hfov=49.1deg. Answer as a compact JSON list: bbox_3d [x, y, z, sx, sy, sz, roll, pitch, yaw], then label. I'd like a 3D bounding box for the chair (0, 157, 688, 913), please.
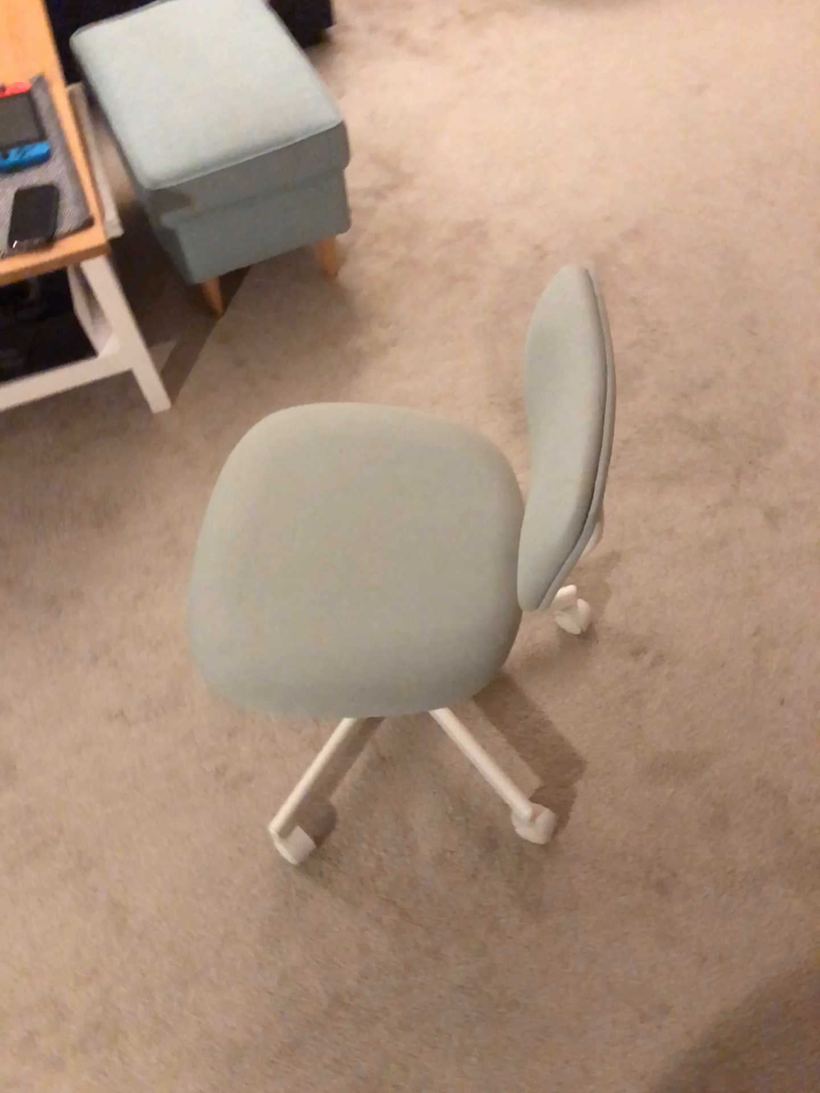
[{"bbox_3d":[-0.038,0.015,1.157,0.640,0.678,0.662,5,59,8],"label":"chair"}]
